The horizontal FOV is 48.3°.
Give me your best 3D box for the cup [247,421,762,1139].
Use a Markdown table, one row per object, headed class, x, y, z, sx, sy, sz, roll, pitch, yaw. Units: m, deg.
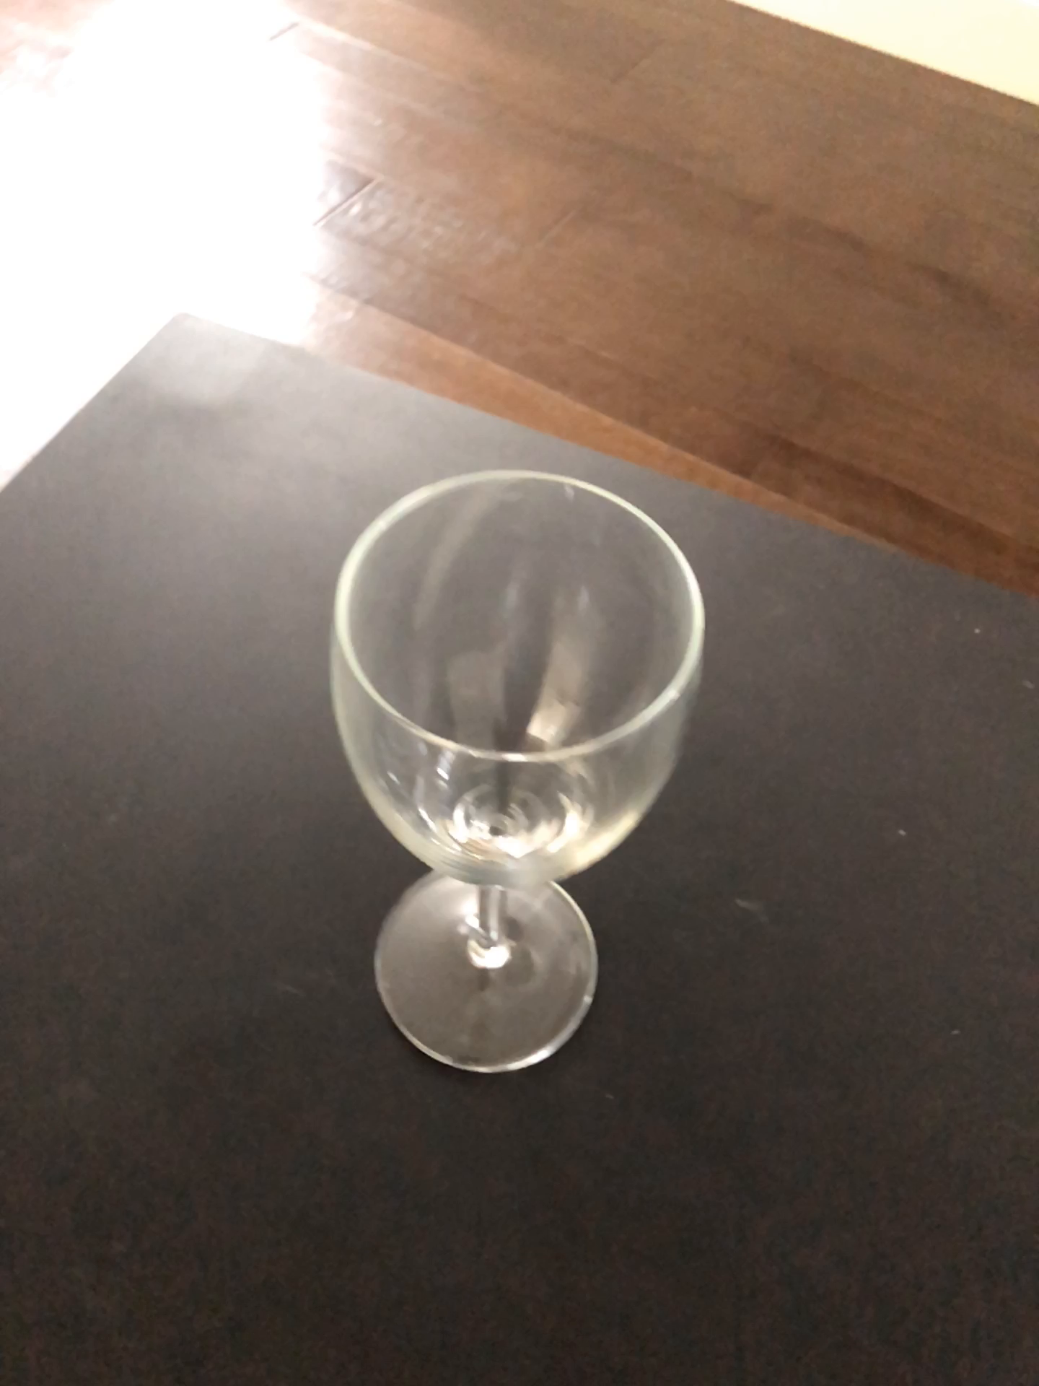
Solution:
| class | x | y | z | sx | sy | sz | roll | pitch | yaw |
| --- | --- | --- | --- | --- | --- | --- | --- | --- | --- |
| cup | -0.004 | 0.036 | 0.283 | 0.080 | 0.179 | 0.081 | 2 | 54 | -3 |
